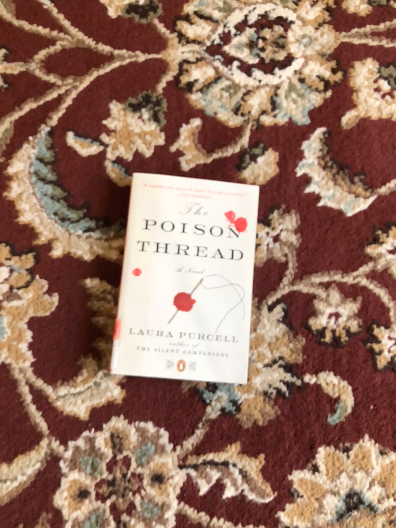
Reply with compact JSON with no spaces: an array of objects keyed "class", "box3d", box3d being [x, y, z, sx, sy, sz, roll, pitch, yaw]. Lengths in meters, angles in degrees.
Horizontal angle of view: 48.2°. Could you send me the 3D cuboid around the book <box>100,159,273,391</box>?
[{"class":"book","box3d":[-0.008,0.009,0.413,0.140,0.030,0.200,5,81,-4]}]
